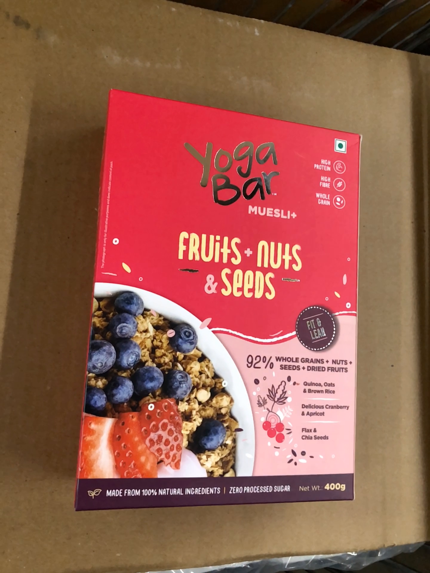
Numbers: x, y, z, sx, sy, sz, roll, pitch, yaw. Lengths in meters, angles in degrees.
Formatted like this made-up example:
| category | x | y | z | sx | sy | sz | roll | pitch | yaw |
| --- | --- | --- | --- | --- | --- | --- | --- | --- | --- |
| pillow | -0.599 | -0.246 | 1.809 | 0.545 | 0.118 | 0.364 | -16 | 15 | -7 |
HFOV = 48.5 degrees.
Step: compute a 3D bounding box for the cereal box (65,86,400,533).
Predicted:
| category | x | y | z | sx | sy | sz | roll | pitch | yaw |
| --- | --- | --- | --- | --- | --- | --- | --- | --- | --- |
| cereal box | 0.013 | 0.015 | 0.276 | 0.170 | 0.060 | 0.210 | 5 | 84 | -16 |
